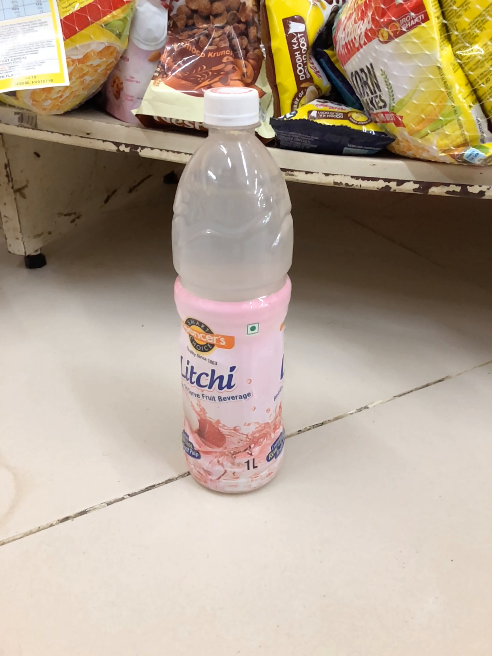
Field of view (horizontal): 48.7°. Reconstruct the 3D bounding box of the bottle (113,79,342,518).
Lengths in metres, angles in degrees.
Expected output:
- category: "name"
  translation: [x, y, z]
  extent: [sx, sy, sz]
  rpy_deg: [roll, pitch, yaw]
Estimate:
- category: "bottle"
  translation: [-0.009, -0.013, 0.328]
  extent: [0.080, 0.238, 0.081]
  rpy_deg: [1, 30, 0]
